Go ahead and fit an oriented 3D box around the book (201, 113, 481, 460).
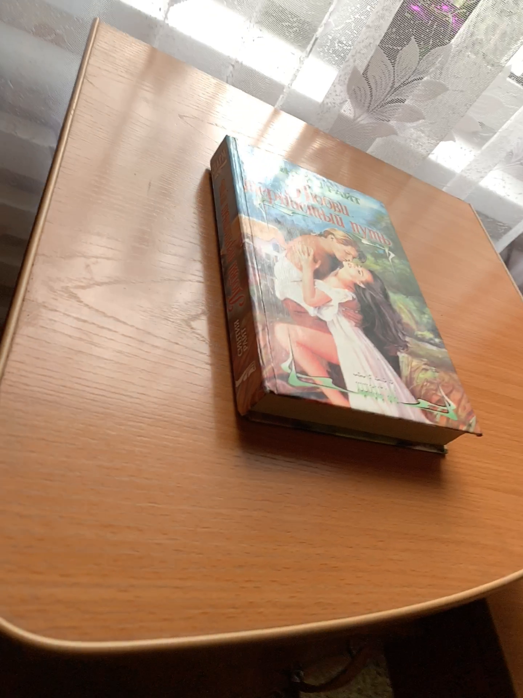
[{"bbox_3d":[0.037,-0.045,0.326,0.140,0.030,0.211,15,48,-26],"label":"book"}]
